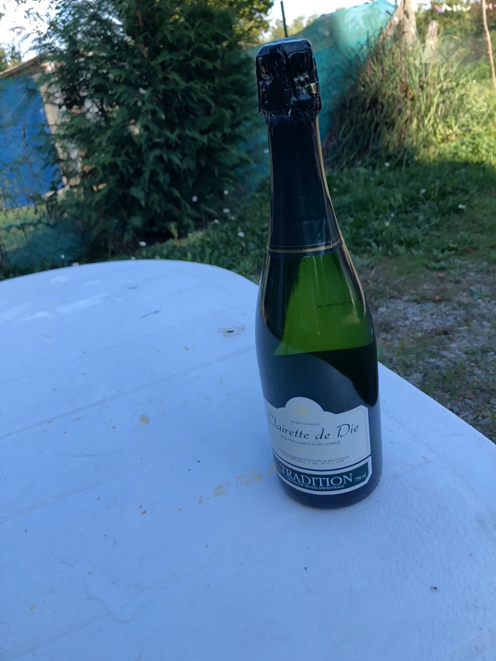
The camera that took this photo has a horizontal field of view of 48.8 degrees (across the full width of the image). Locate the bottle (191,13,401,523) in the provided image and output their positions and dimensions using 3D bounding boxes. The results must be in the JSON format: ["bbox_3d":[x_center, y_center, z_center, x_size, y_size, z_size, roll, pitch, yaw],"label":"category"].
[{"bbox_3d":[0.049,-0.031,0.373,0.090,0.308,0.101,4,27,24],"label":"bottle"}]
